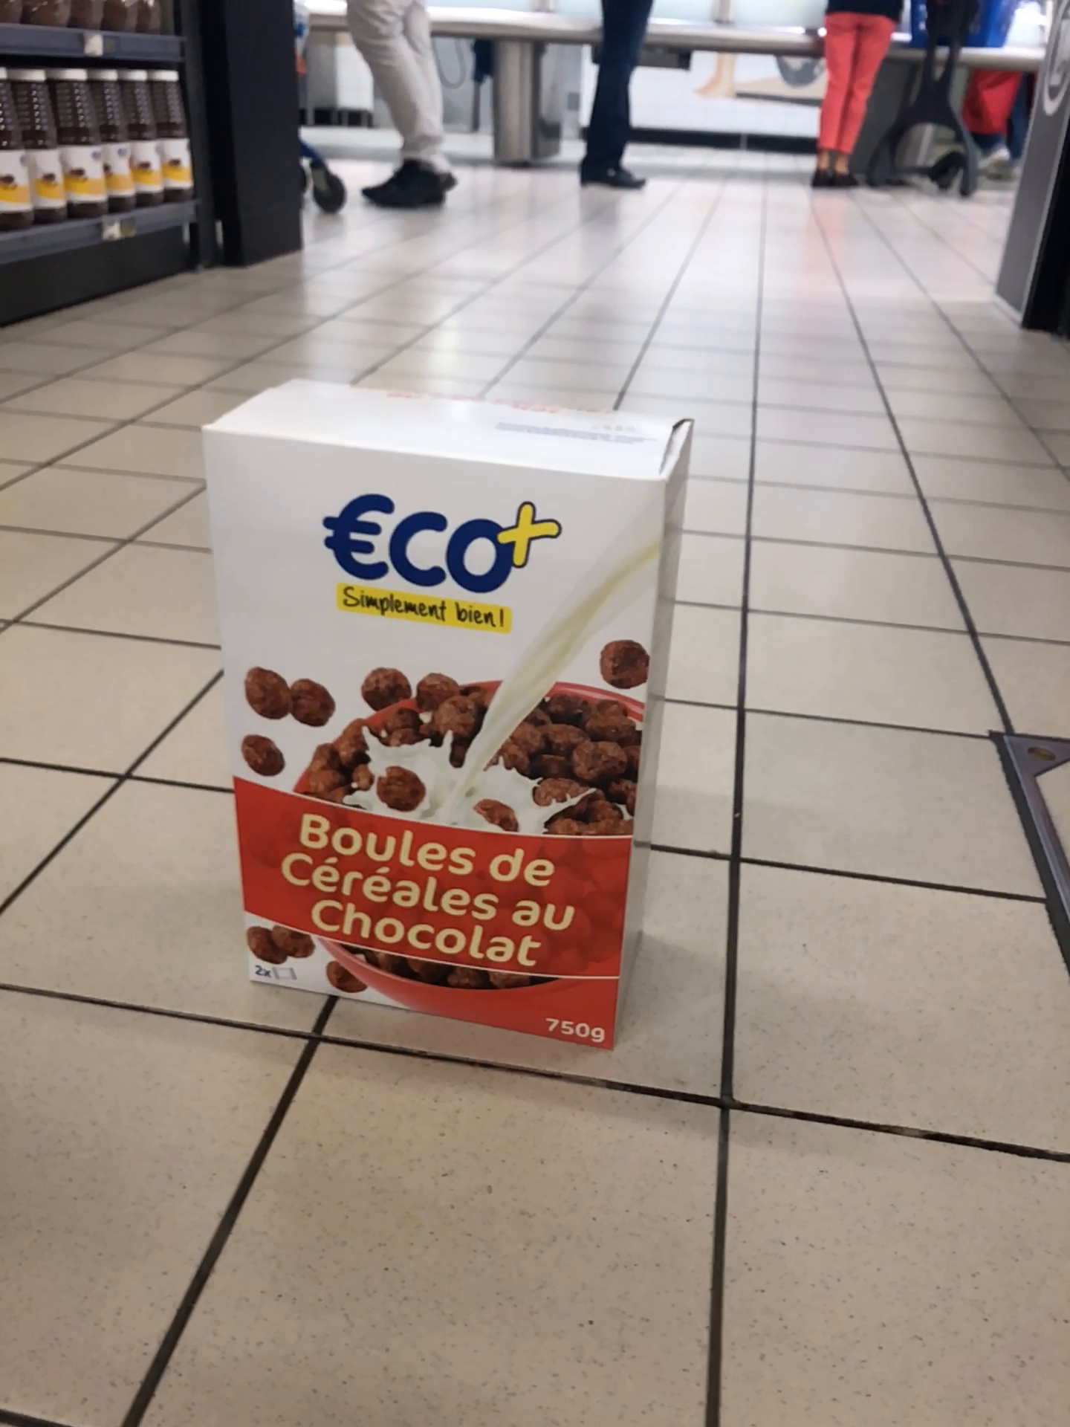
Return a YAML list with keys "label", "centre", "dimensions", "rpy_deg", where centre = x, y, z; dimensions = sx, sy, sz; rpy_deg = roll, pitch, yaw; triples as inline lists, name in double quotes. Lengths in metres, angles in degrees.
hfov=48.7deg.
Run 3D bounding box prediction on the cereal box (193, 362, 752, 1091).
- label: "cereal box"
  centre: [-0.028, 0.007, 0.555]
  dimensions: [0.210, 0.298, 0.101]
  rpy_deg: [9, 27, 12]
